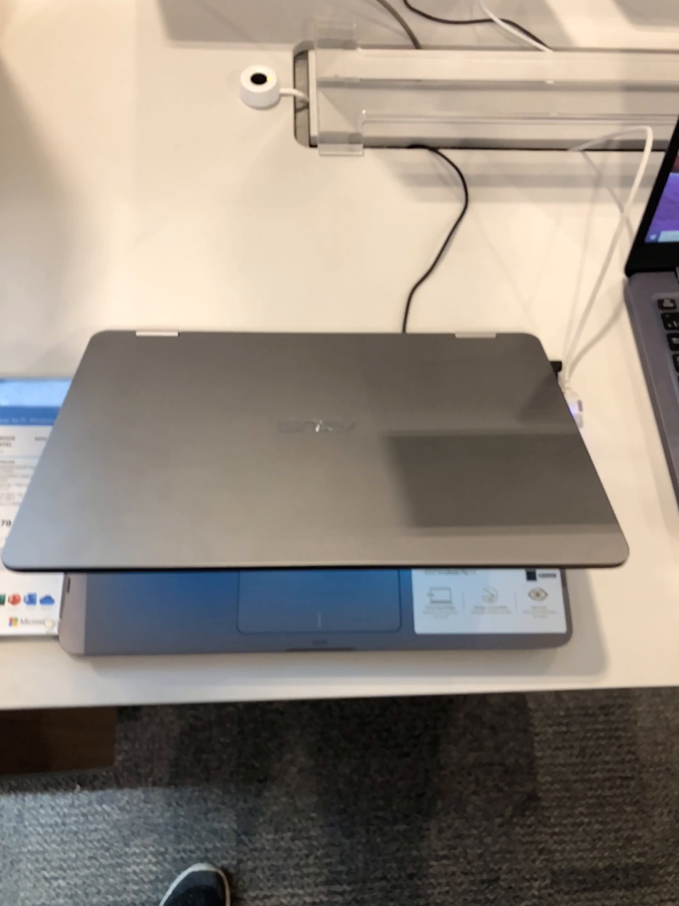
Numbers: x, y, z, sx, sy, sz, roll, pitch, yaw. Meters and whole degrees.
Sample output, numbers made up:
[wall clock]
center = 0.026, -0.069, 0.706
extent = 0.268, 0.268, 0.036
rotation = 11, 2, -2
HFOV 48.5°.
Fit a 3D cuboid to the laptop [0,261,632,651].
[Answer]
[laptop]
center = -0.017, 0.005, 0.466
extent = 0.321, 0.106, 0.215
rotation = 0, 68, -2
